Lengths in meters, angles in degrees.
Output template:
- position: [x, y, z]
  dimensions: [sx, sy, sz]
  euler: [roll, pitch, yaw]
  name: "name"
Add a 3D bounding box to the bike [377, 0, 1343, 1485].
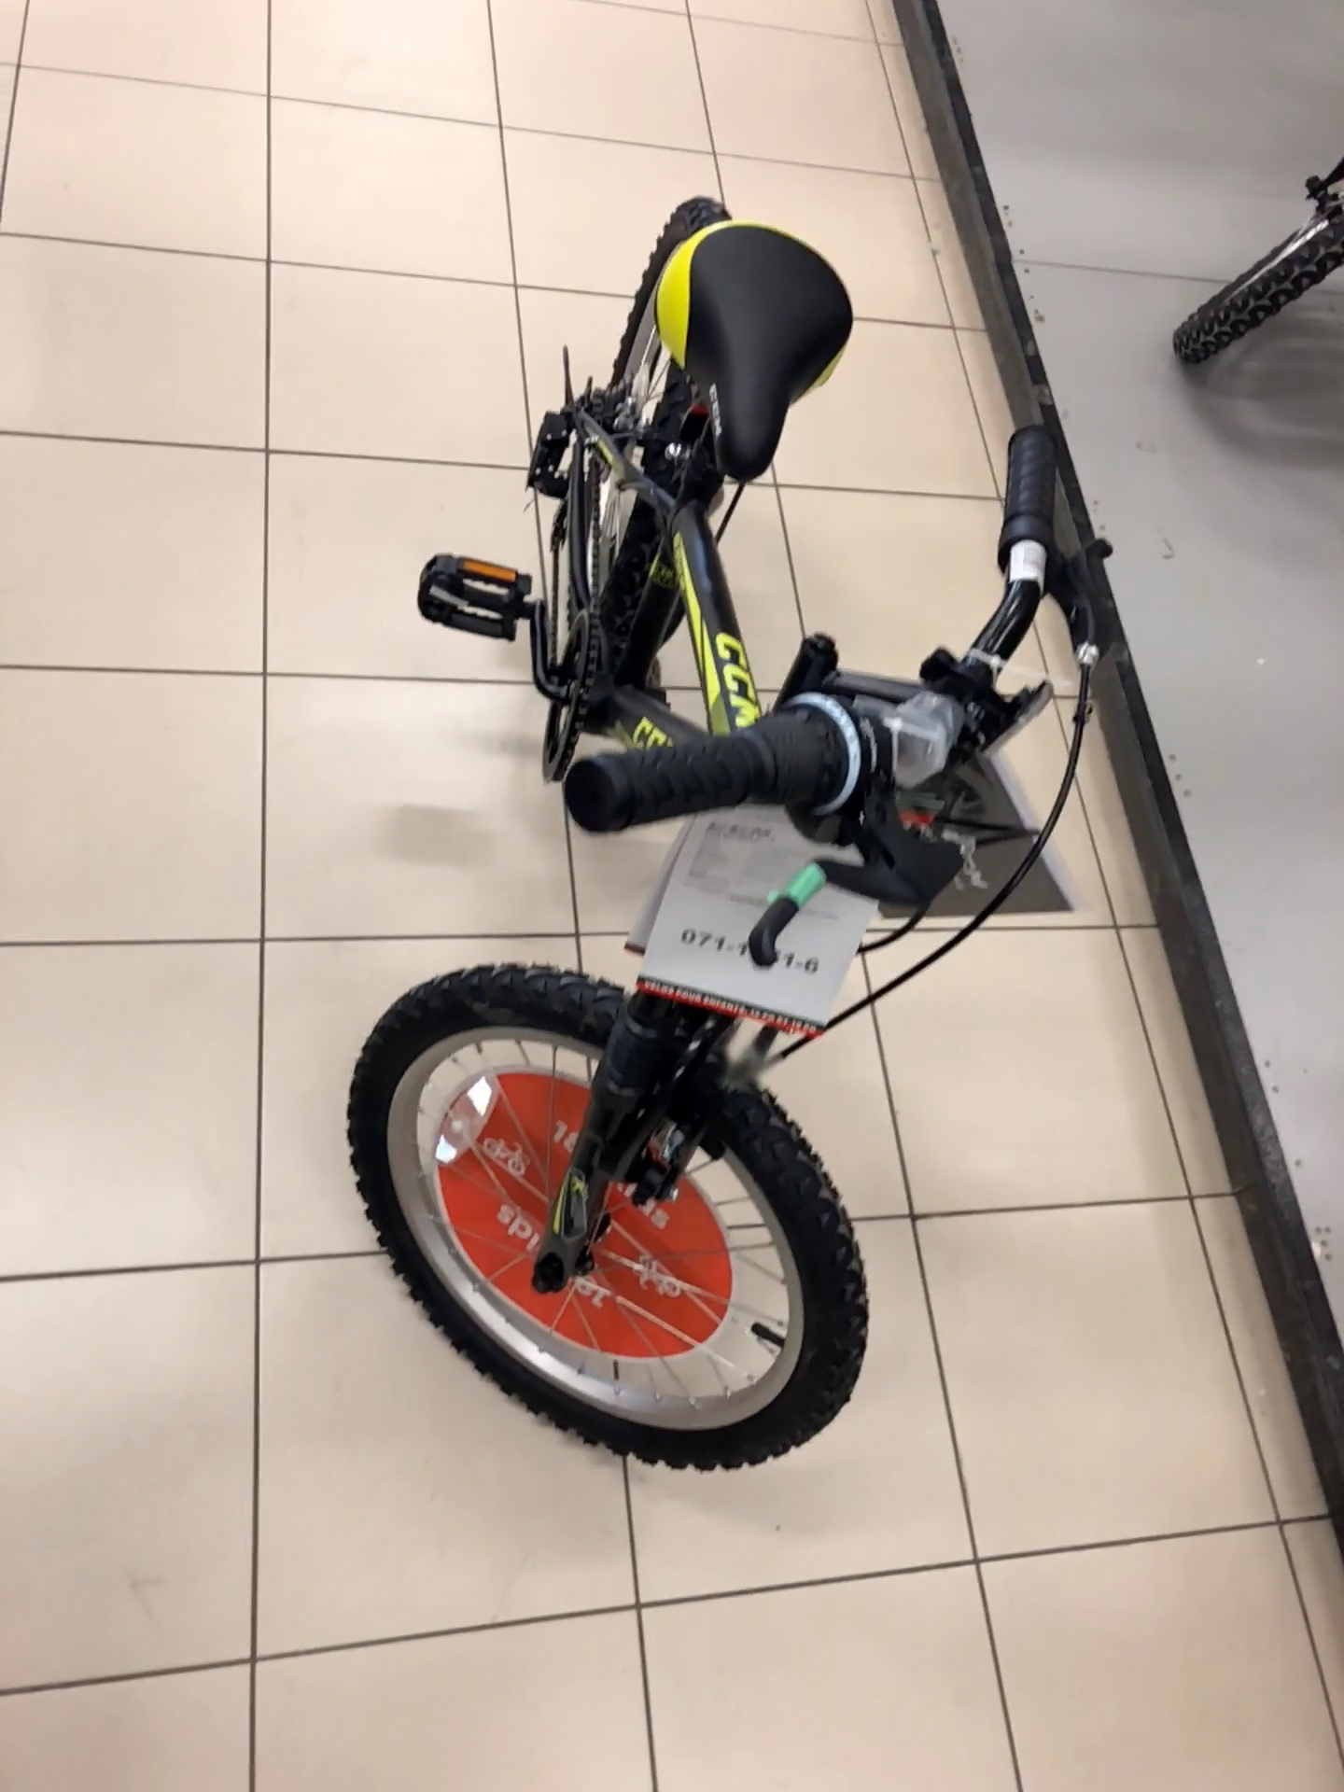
- position: [0.069, -0.228, 1.168]
  dimensions: [0.549, 0.862, 1.197]
  euler: [1, 63, -14]
  name: "bike"
